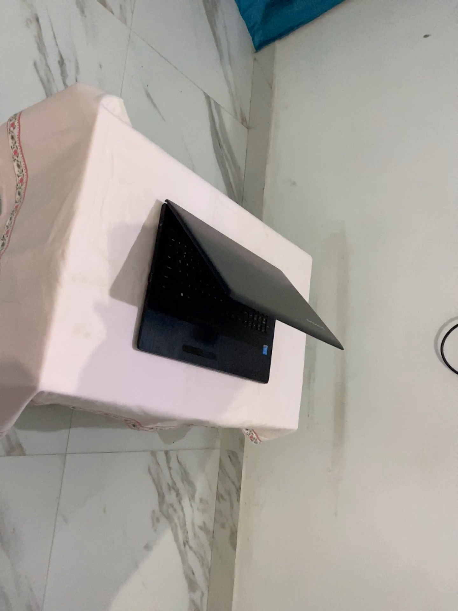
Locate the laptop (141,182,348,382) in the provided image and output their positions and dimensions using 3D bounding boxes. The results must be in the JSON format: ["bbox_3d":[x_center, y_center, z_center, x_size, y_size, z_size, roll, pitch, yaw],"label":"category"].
[{"bbox_3d":[0.055,-0.014,0.885,0.370,0.176,0.258,24,69,-48],"label":"laptop"}]
